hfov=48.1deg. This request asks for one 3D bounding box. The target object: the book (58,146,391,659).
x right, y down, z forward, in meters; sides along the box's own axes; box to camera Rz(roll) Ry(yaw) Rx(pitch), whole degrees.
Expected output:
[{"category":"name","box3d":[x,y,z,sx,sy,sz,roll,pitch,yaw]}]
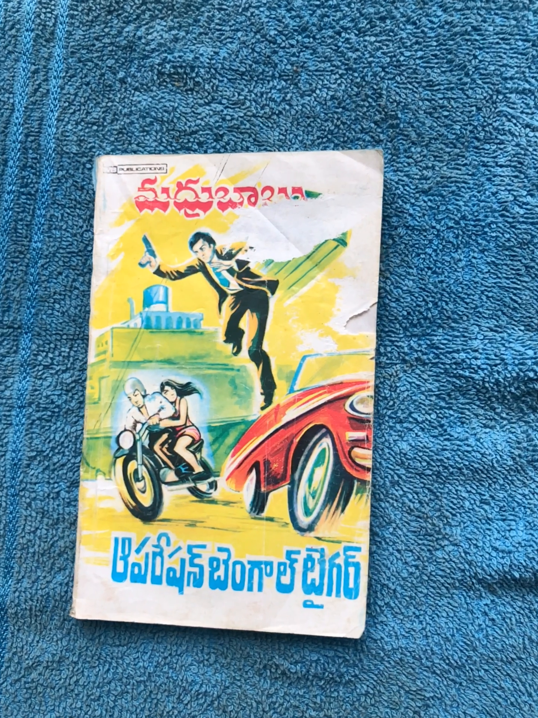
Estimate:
[{"category":"book","box3d":[-0.013,0.010,0.203,0.100,0.020,0.160,2,85,5]}]
